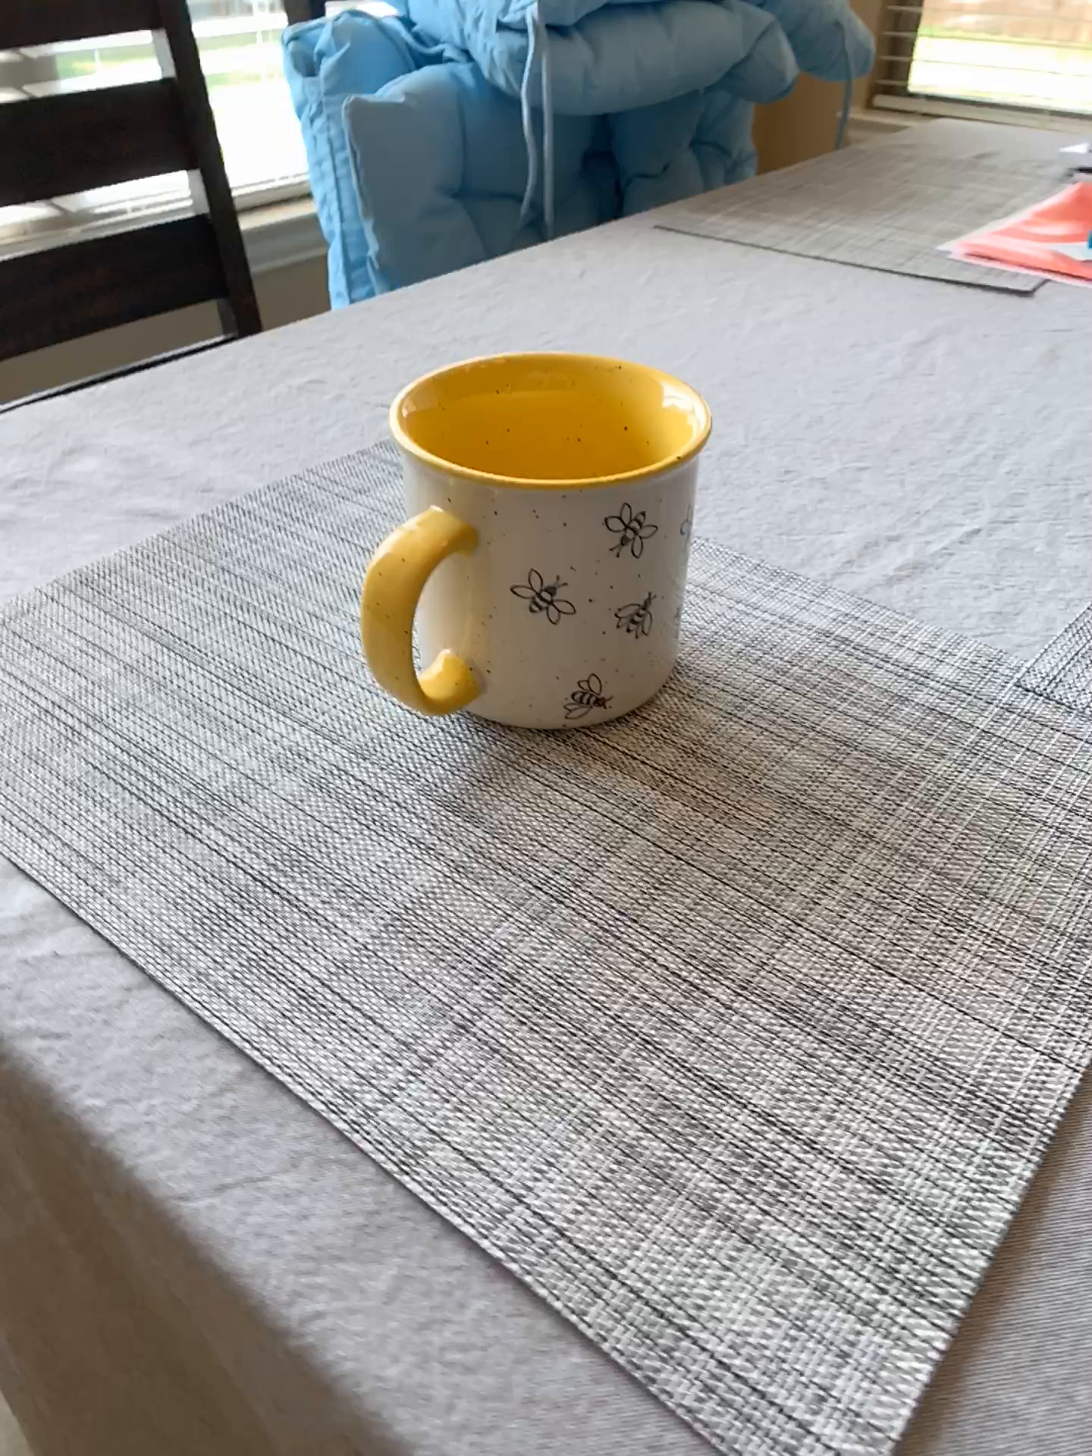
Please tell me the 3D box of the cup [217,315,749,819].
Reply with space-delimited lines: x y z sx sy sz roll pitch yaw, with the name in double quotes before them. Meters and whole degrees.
"cup" -0.019 -0.066 0.405 0.113 0.107 0.136 29 45 32
